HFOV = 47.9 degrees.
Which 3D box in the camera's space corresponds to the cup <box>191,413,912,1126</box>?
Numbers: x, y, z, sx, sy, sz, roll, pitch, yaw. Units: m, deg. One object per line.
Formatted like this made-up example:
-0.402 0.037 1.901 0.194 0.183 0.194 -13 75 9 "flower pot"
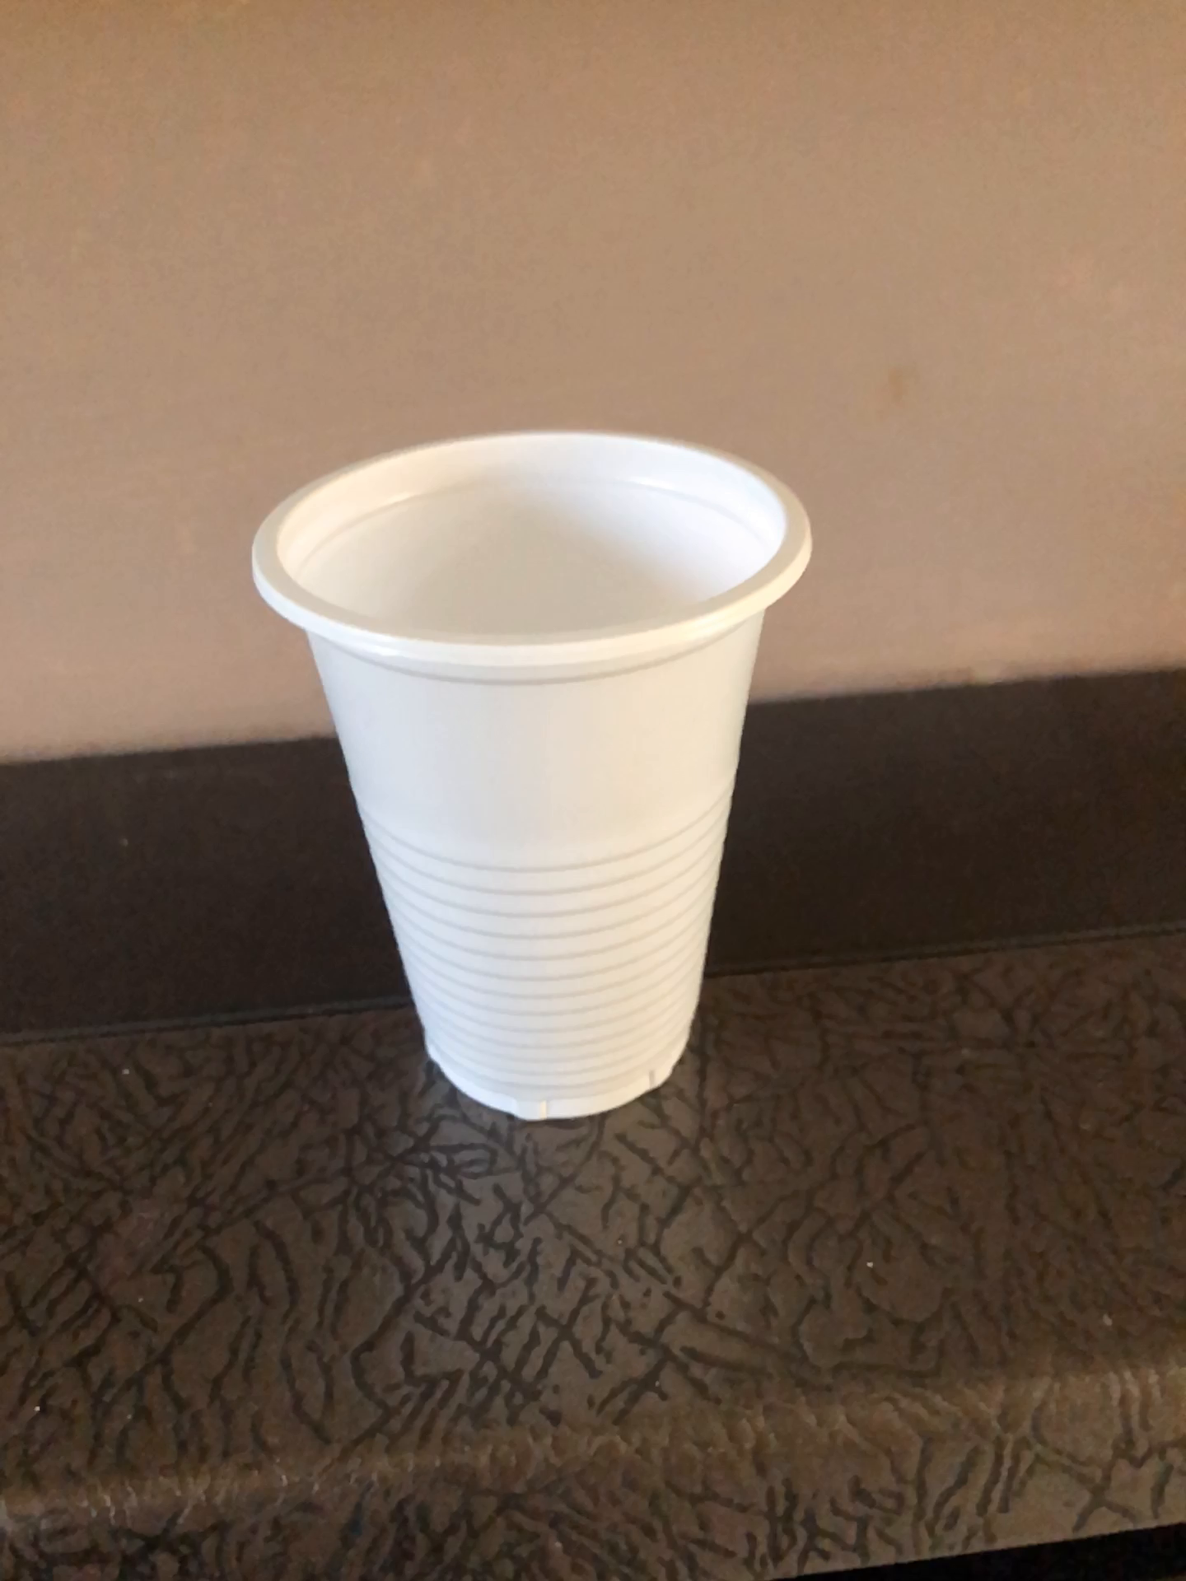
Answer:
-0.004 -0.006 0.197 0.079 0.073 0.073 -2 35 1 "cup"
